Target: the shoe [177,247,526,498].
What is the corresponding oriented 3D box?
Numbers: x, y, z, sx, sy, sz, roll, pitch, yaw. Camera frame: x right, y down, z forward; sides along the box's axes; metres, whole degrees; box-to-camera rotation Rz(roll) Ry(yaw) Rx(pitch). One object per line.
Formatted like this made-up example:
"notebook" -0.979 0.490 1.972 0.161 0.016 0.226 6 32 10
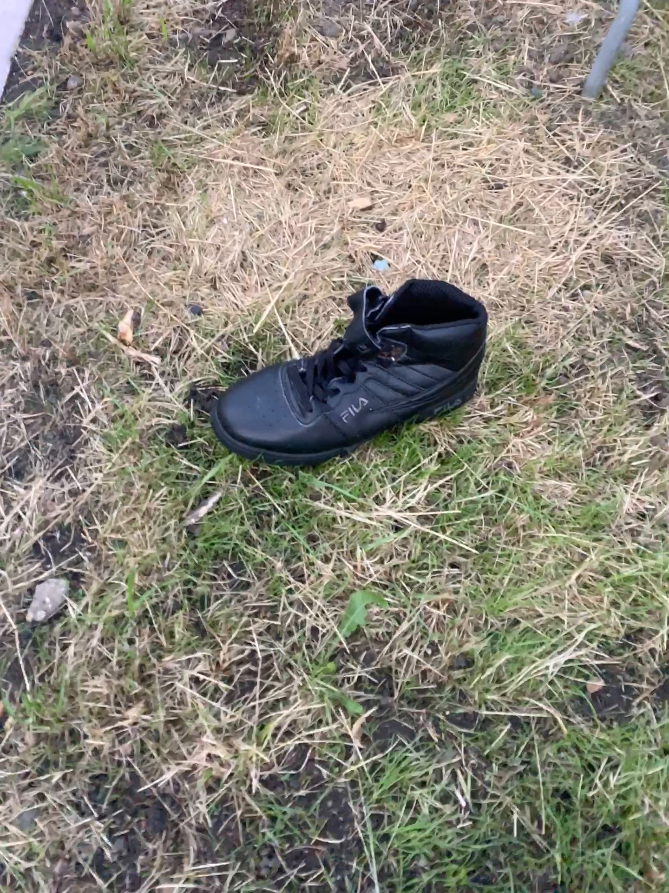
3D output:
"shoe" 0.011 -0.062 0.604 0.260 0.139 0.100 -17 69 -10
